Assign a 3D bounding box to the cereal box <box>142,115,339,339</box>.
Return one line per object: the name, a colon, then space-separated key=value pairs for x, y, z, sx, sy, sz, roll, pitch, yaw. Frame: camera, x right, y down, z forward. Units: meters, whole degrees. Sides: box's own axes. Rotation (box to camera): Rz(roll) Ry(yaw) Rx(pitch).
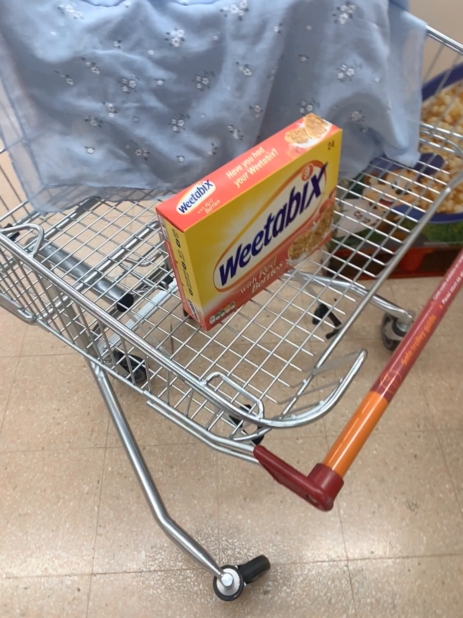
cereal box: x=0.024 y=-0.107 z=0.631 sx=0.261 sy=0.188 sz=0.060 roll=-37 pitch=57 yaw=-23
